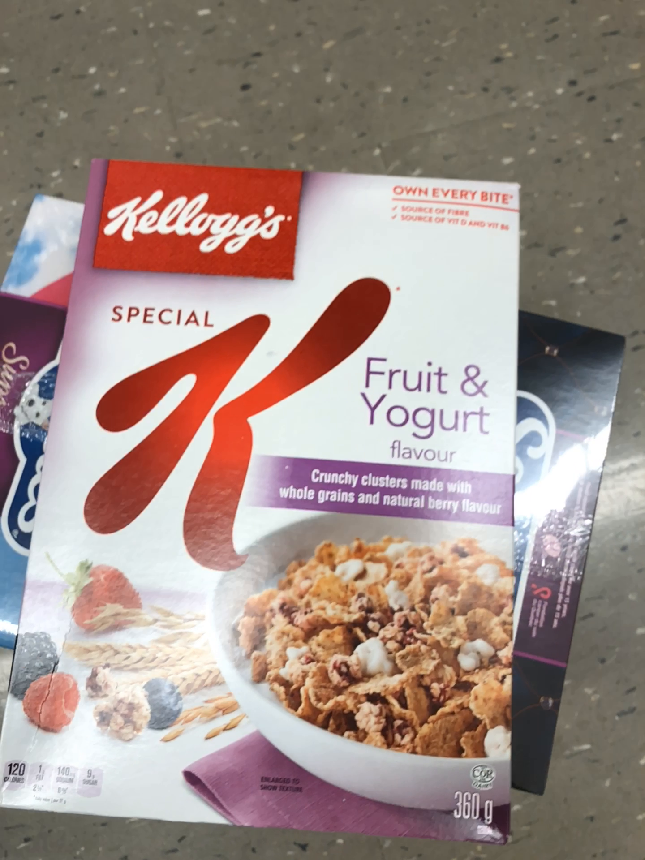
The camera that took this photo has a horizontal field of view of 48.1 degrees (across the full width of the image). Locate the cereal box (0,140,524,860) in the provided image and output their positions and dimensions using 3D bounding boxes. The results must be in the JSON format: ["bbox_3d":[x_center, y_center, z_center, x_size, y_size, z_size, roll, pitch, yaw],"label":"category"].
[{"bbox_3d":[-0.024,0.017,0.316,0.210,0.050,0.280,4,75,1],"label":"cereal box"}]
